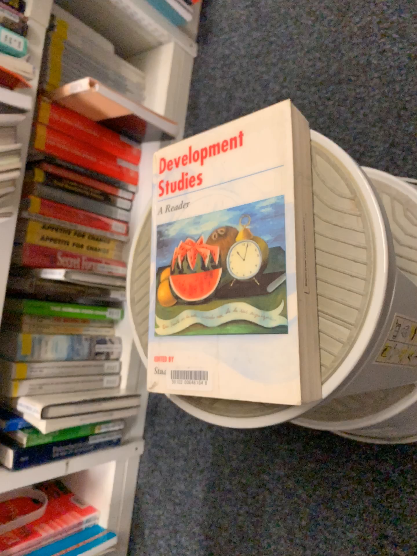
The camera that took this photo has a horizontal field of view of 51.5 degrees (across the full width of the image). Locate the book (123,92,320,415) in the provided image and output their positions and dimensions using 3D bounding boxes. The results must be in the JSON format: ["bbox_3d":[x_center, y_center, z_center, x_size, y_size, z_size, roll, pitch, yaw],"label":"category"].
[{"bbox_3d":[0.003,-0.013,0.361,0.160,0.045,0.225,-7,79,37],"label":"book"}]
